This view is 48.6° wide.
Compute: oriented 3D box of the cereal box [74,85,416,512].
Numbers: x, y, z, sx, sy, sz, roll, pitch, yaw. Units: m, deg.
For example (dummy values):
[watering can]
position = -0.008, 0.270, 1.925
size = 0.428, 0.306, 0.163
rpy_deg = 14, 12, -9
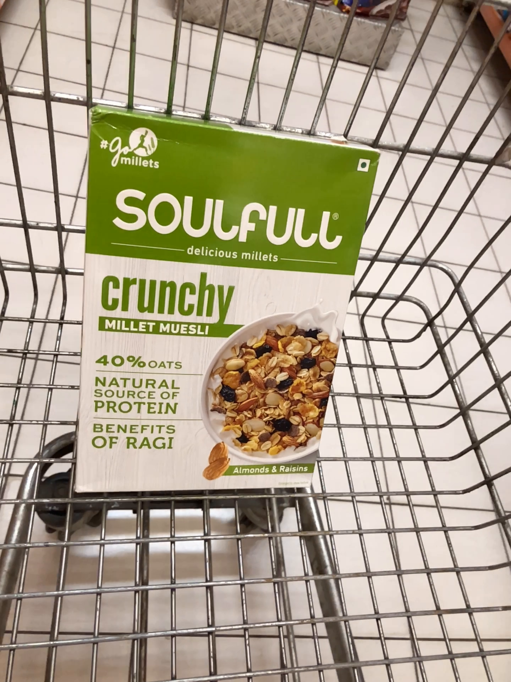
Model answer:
[cereal box]
position = -0.019, -0.016, 0.358
size = 0.170, 0.239, 0.070
rpy_deg = 3, 21, -16
